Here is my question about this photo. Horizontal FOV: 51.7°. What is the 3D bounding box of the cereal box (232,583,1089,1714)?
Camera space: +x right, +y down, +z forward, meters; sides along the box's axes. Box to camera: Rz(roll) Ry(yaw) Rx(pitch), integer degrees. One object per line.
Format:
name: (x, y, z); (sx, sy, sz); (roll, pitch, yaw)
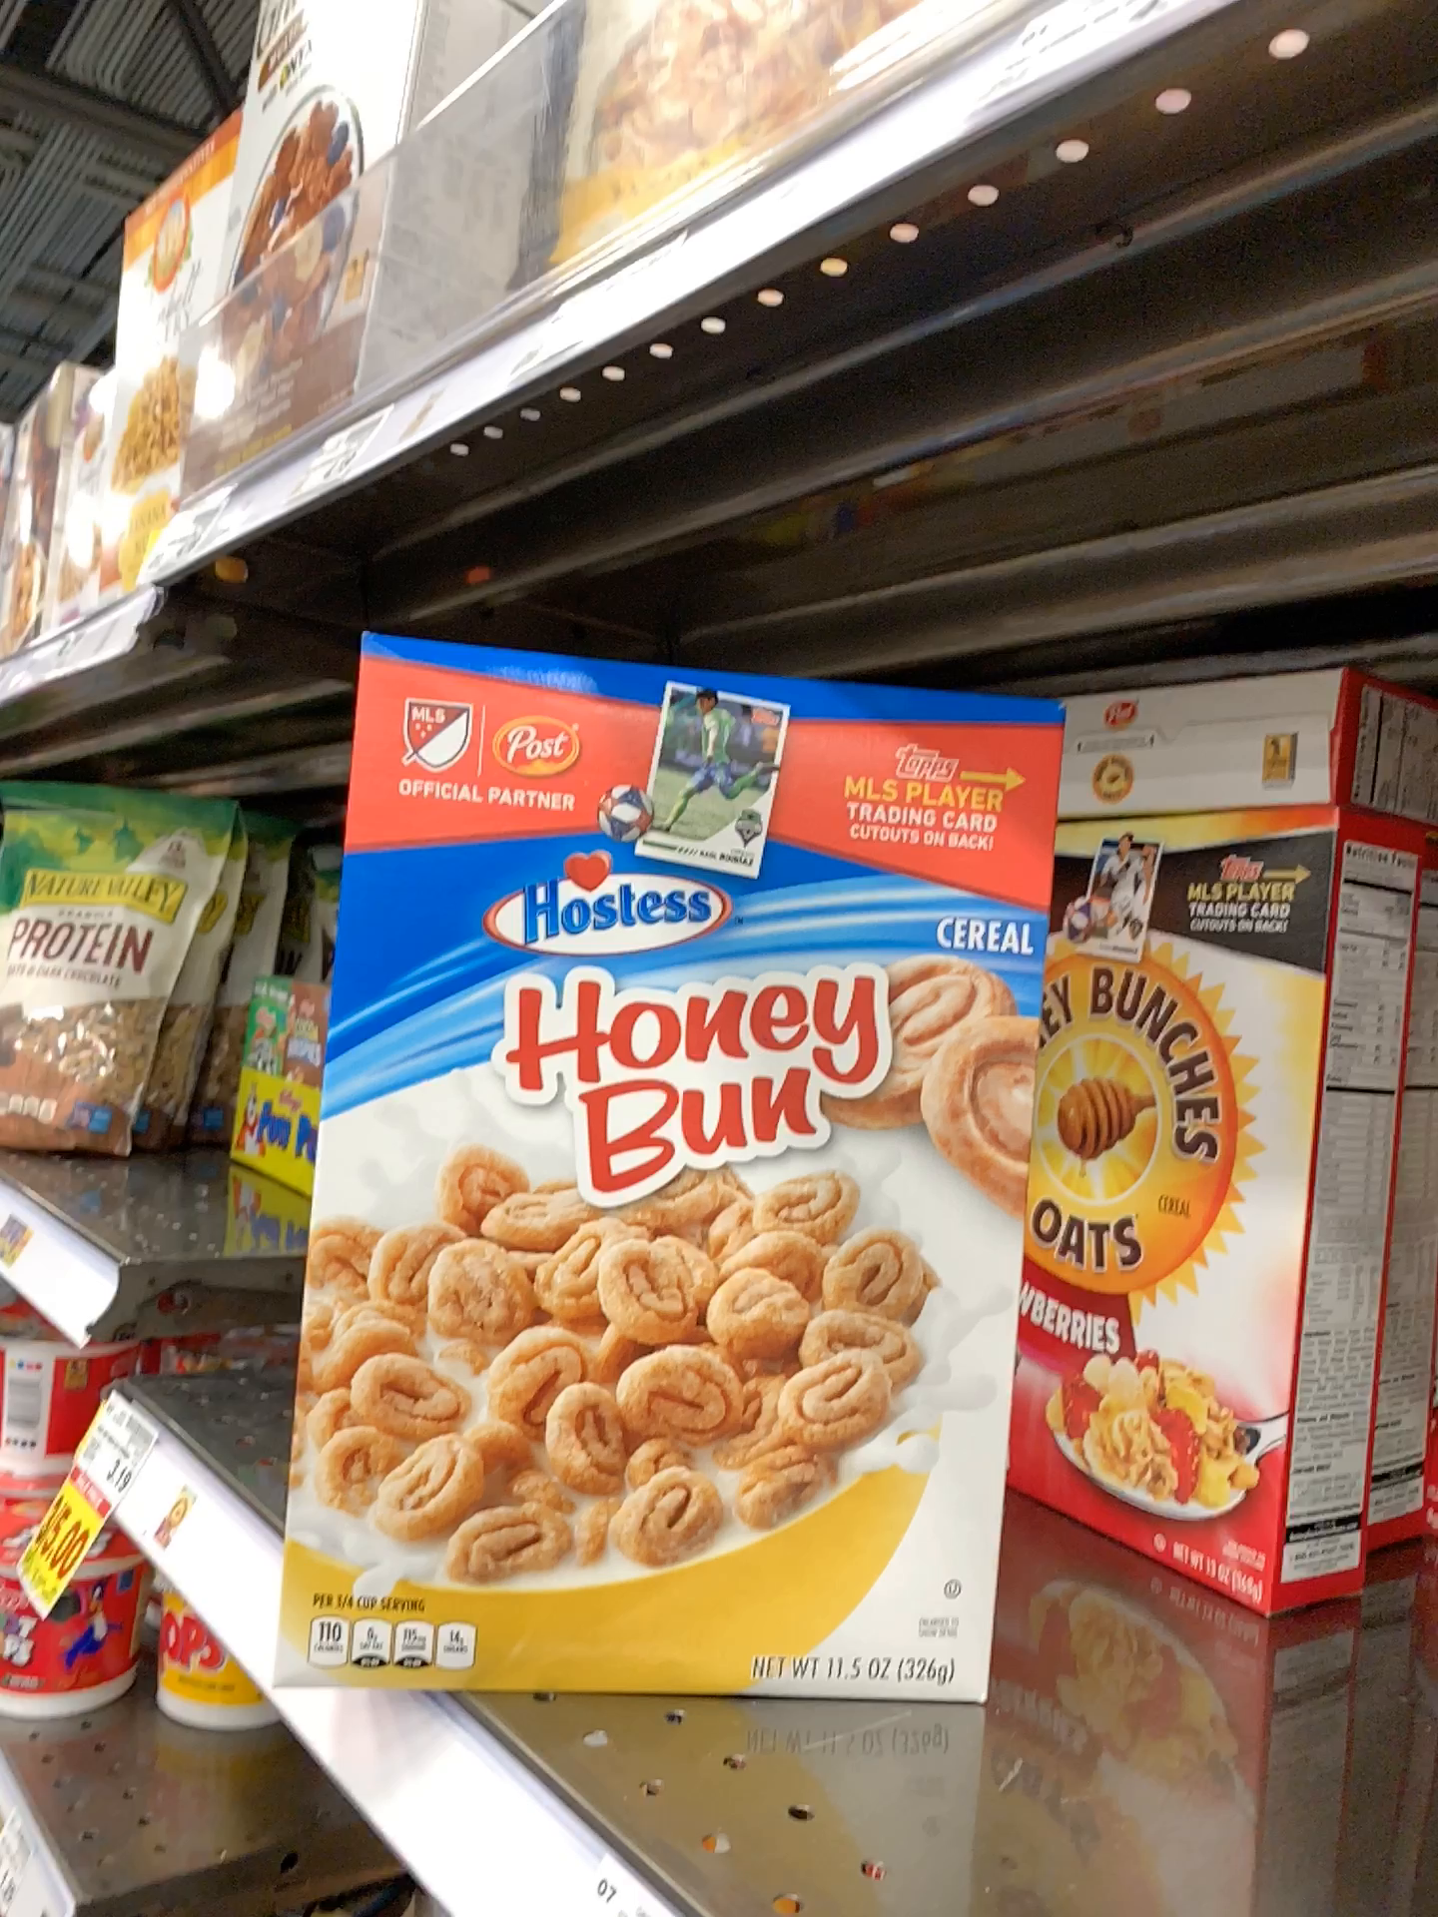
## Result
cereal box: (-0.014, 0.053, 0.416); (0.200, 0.280, 0.060); (5, -2, -7)
